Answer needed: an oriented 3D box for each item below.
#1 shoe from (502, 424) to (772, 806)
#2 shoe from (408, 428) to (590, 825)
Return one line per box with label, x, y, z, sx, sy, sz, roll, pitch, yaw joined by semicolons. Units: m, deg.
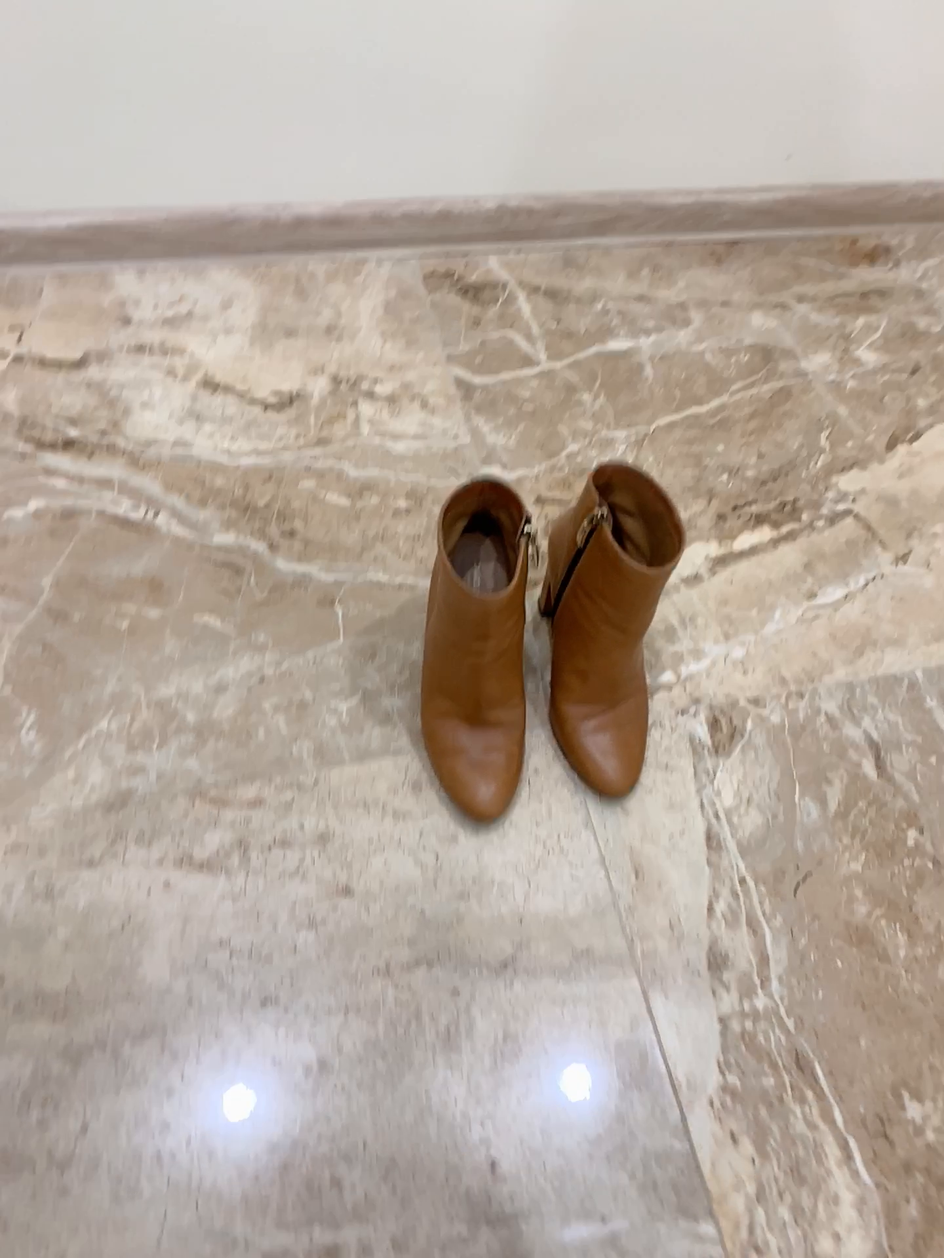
shoe;0.105;-0.008;0.710;0.090;0.175;0.211;-8;60;-13
shoe;0.007;0.003;0.698;0.090;0.185;0.221;1;58;-8
